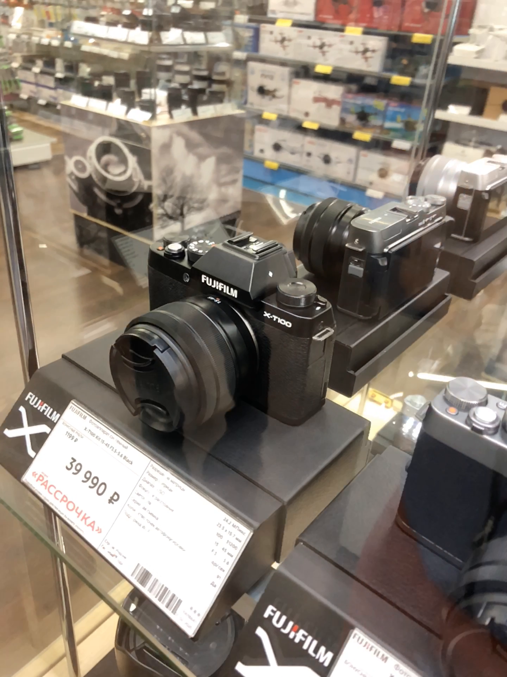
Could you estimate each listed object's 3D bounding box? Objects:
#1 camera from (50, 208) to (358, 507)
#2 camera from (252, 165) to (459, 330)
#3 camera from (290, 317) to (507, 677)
[{"bbox_3d":[-0.028,-0.001,0.300,0.120,0.089,0.095,28,38,33],"label":"camera"},{"bbox_3d":[0.077,-0.076,0.426,0.100,0.069,0.120,25,37,30],"label":"camera"},{"bbox_3d":[0.094,0.065,0.187,0.120,0.078,0.099,27,37,32],"label":"camera"}]
